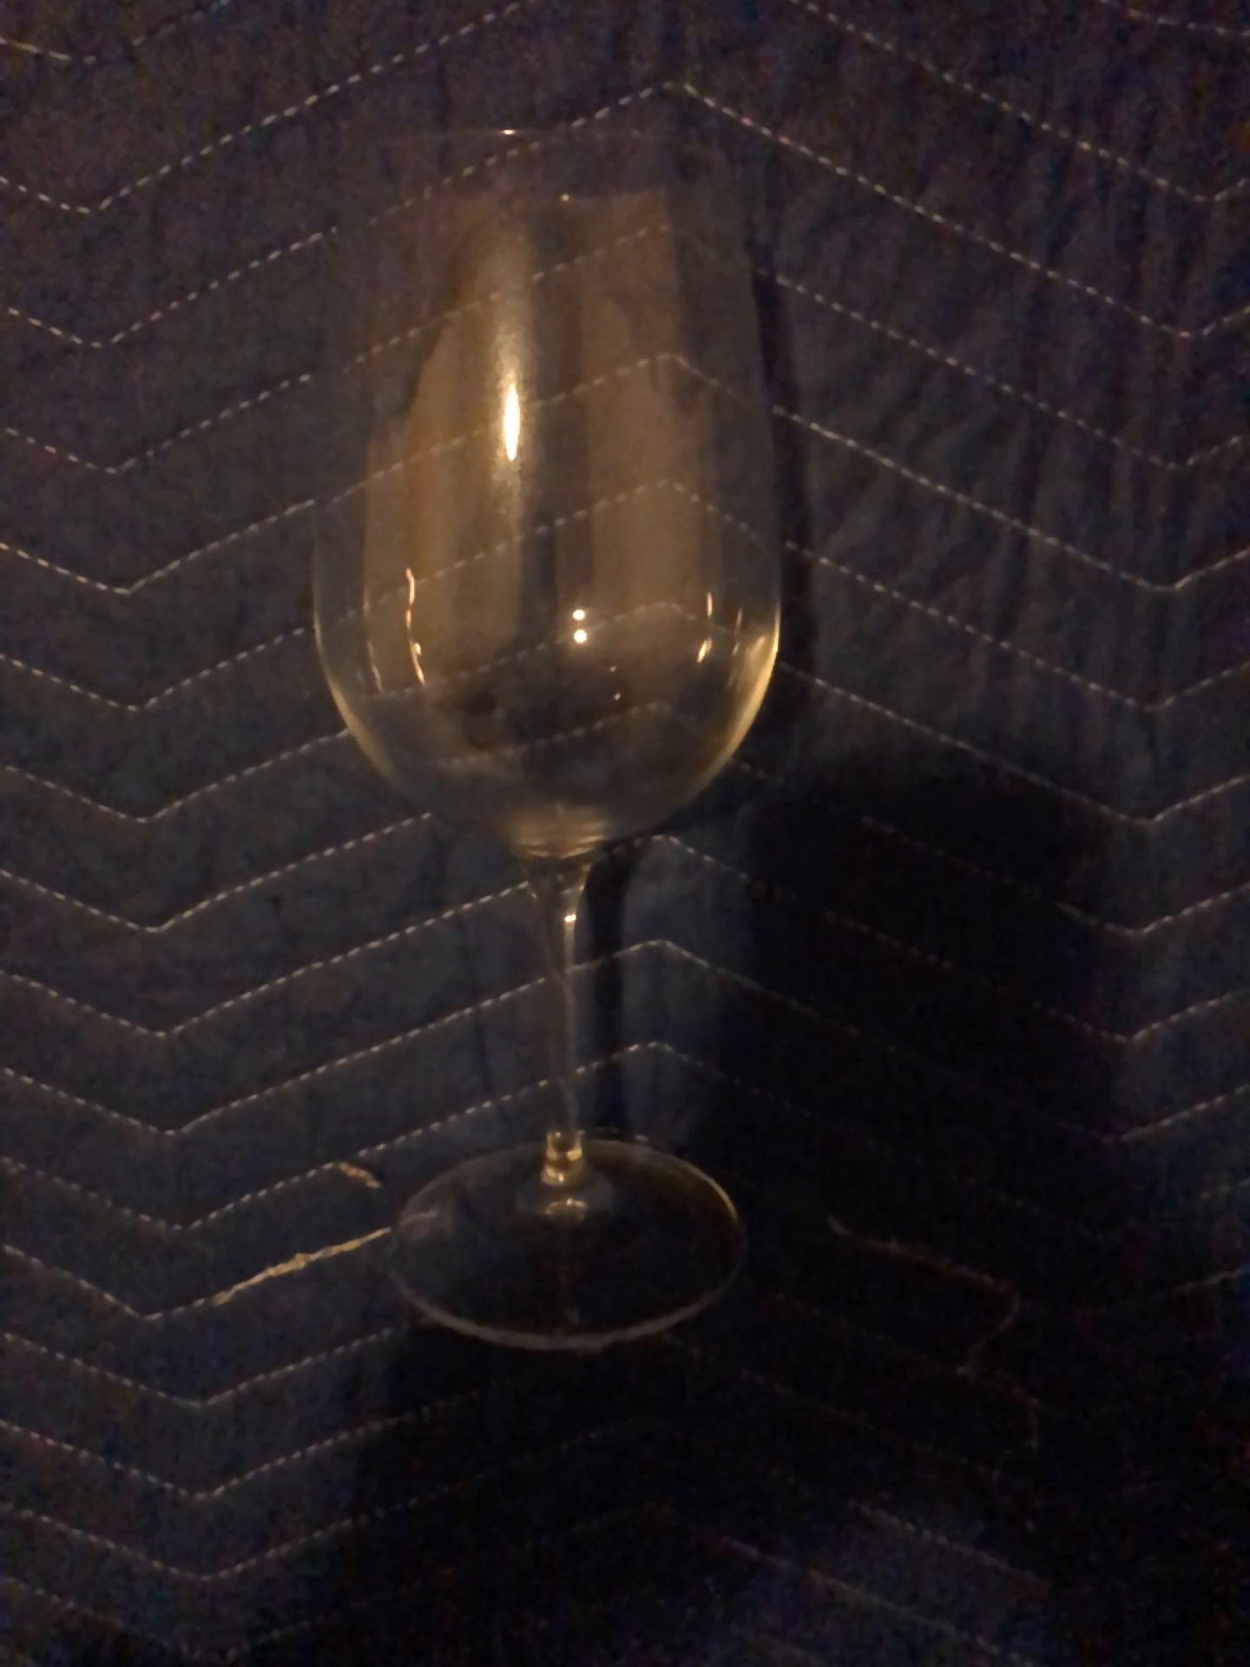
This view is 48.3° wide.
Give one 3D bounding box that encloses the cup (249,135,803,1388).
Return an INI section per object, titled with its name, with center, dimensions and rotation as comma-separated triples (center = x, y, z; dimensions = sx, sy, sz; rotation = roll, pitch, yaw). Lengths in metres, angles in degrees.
[cup]
center = -0.013, -0.011, 0.273
dimensions = 0.080, 0.090, 0.210
rotation = 0, 106, 1
